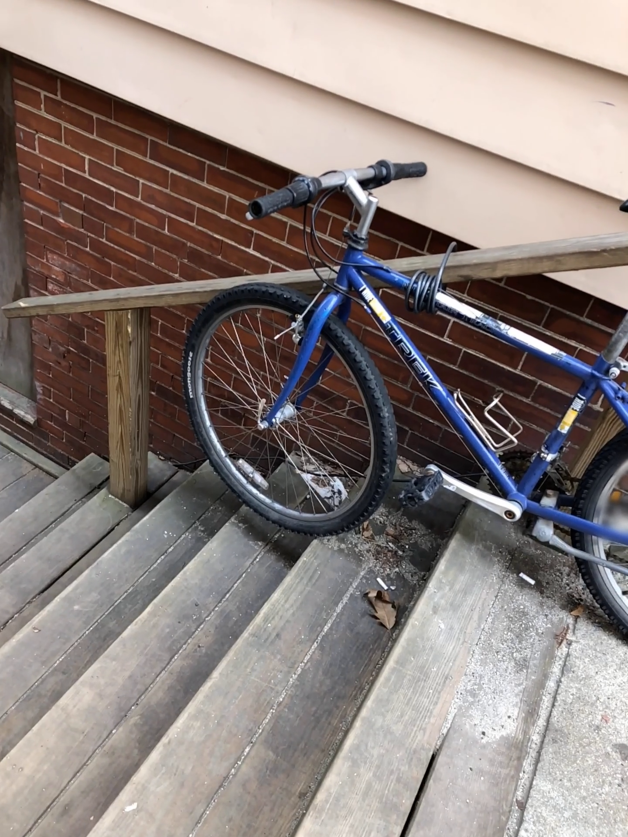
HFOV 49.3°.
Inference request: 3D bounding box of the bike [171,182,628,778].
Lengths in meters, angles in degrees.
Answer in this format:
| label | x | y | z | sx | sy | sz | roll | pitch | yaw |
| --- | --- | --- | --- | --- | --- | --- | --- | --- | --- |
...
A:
| label | x | y | z | sx | sy | sz | roll | pitch | yaw |
| --- | --- | --- | --- | --- | --- | --- | --- | --- | --- |
| bike | 0.421 | -0.011 | 1.508 | 1.521 | 0.619 | 0.535 | 21 | 38 | 23 |
